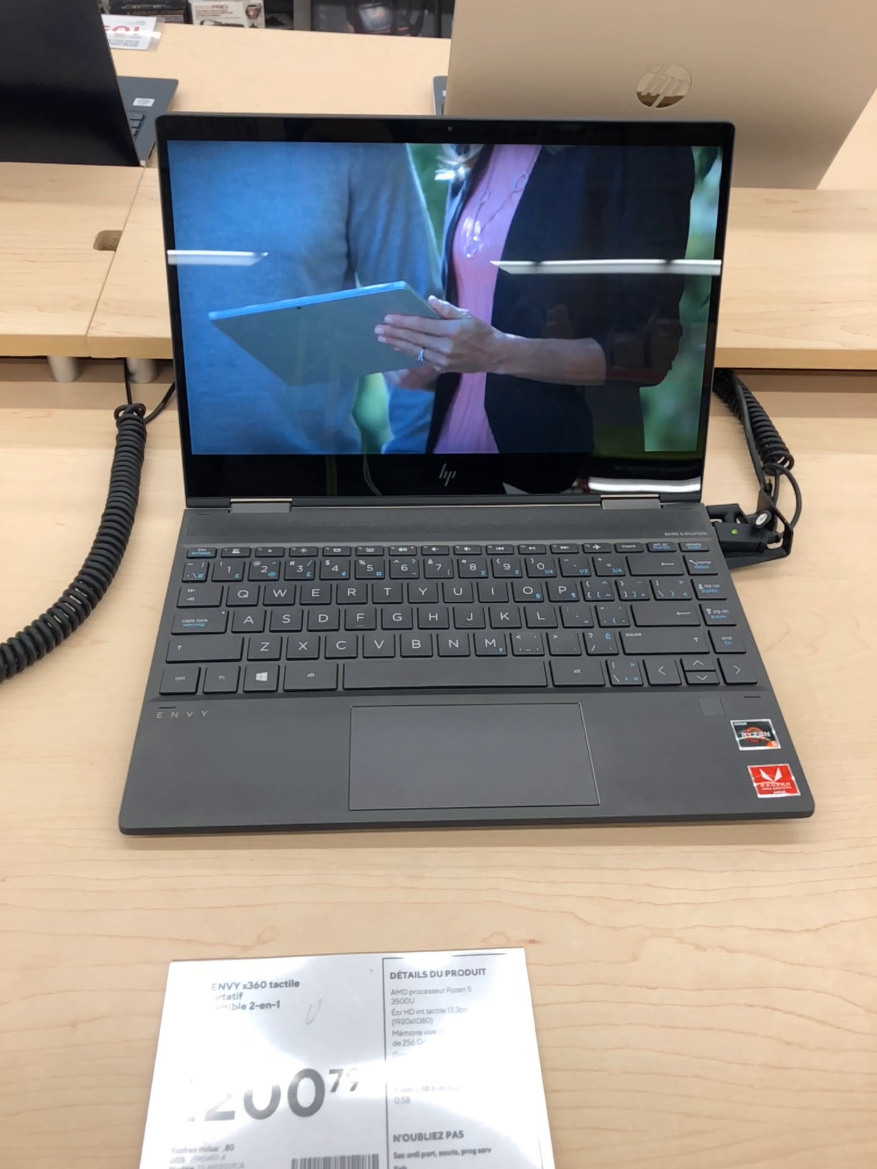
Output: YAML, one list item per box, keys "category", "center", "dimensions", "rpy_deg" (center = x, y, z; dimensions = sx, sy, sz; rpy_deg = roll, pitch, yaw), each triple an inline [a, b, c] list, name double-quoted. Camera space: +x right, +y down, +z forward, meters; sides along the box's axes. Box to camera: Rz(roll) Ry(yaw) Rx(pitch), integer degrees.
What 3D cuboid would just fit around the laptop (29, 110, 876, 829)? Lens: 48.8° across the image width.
- category: "laptop"
  center: [0.011, -0.066, 0.454]
  dimensions: [0.294, 0.182, 0.289]
  rpy_deg: [-1, 46, -5]
